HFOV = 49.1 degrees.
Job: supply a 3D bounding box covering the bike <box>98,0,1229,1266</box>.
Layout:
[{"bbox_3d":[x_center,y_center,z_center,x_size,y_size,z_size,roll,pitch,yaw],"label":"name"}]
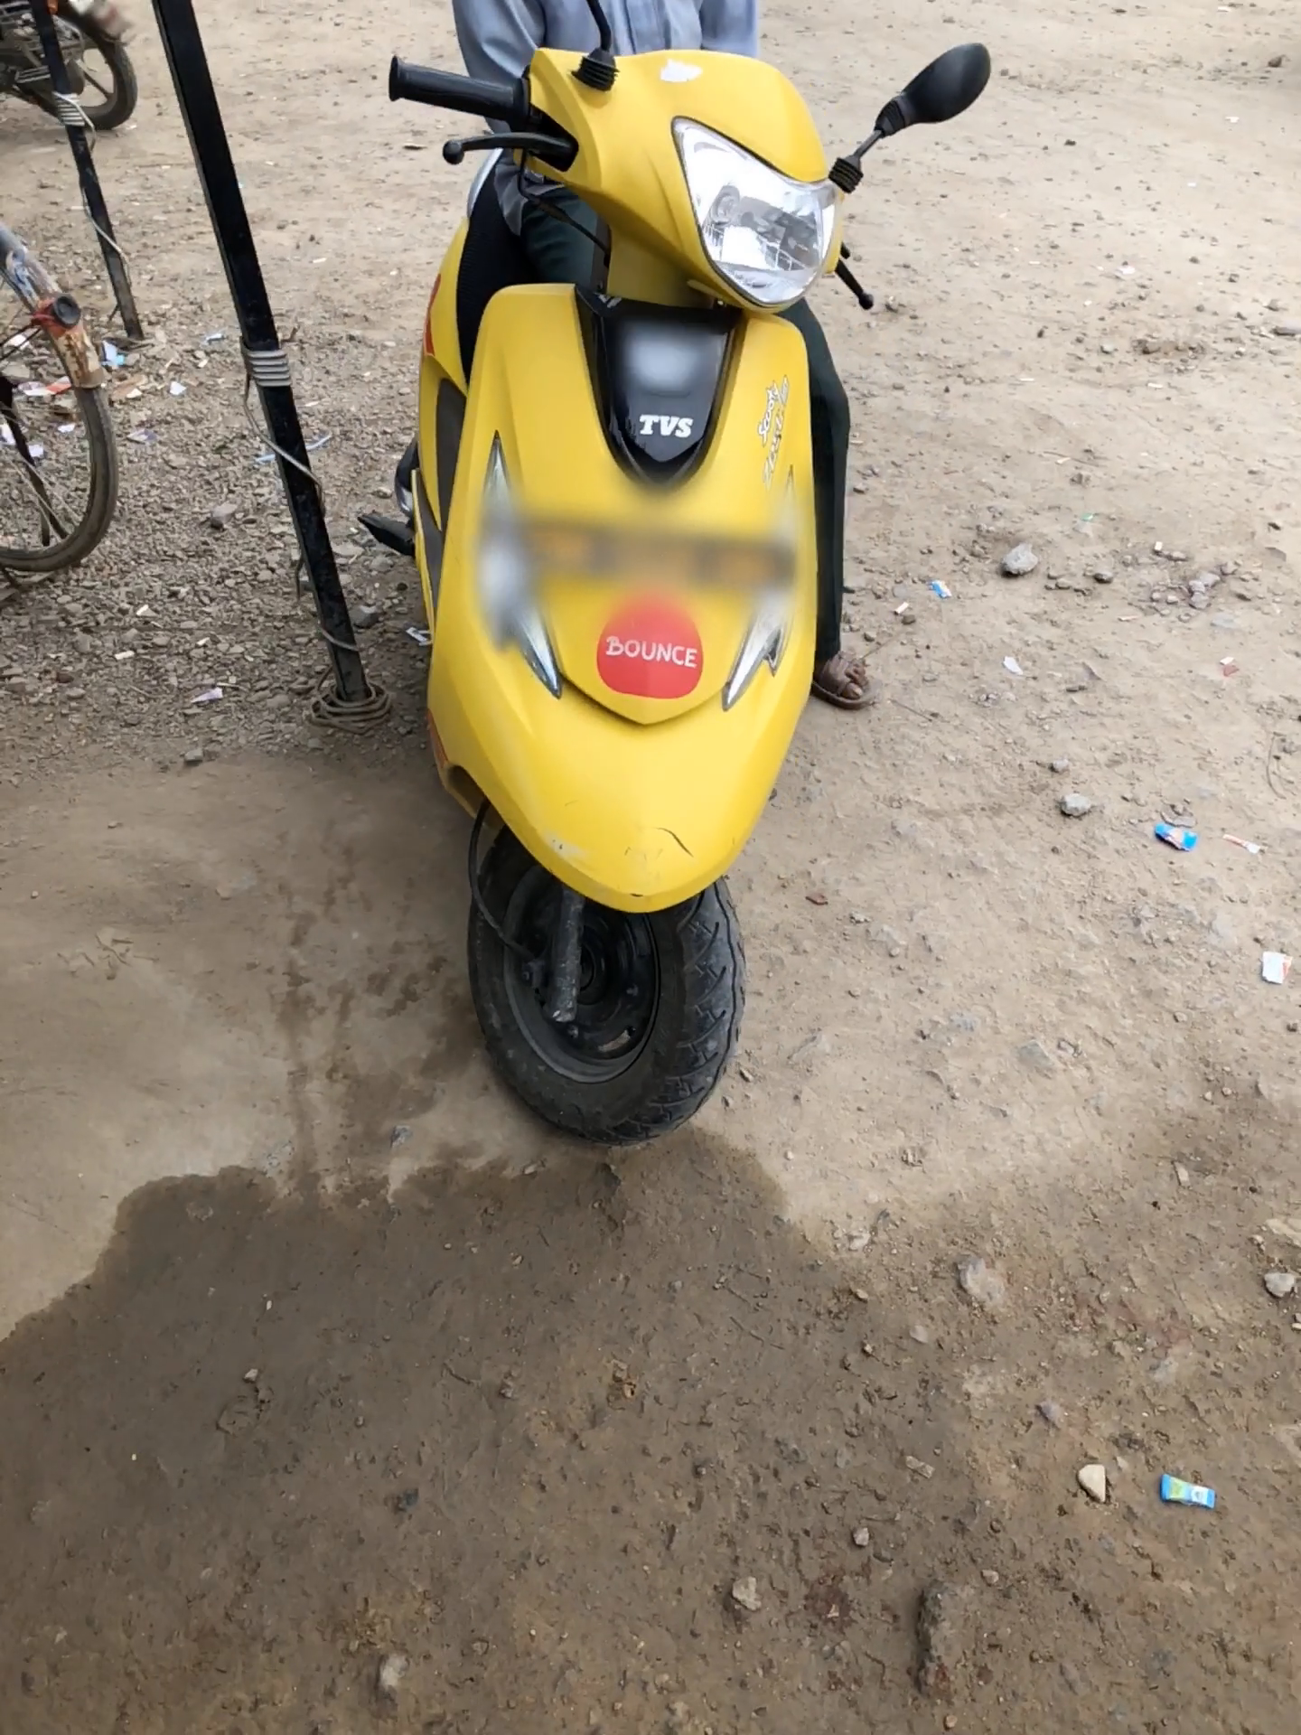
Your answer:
[{"bbox_3d":[-0.038,-0.544,2.092,0.889,1.161,1.663,-5,41,-3],"label":"bike"}]
